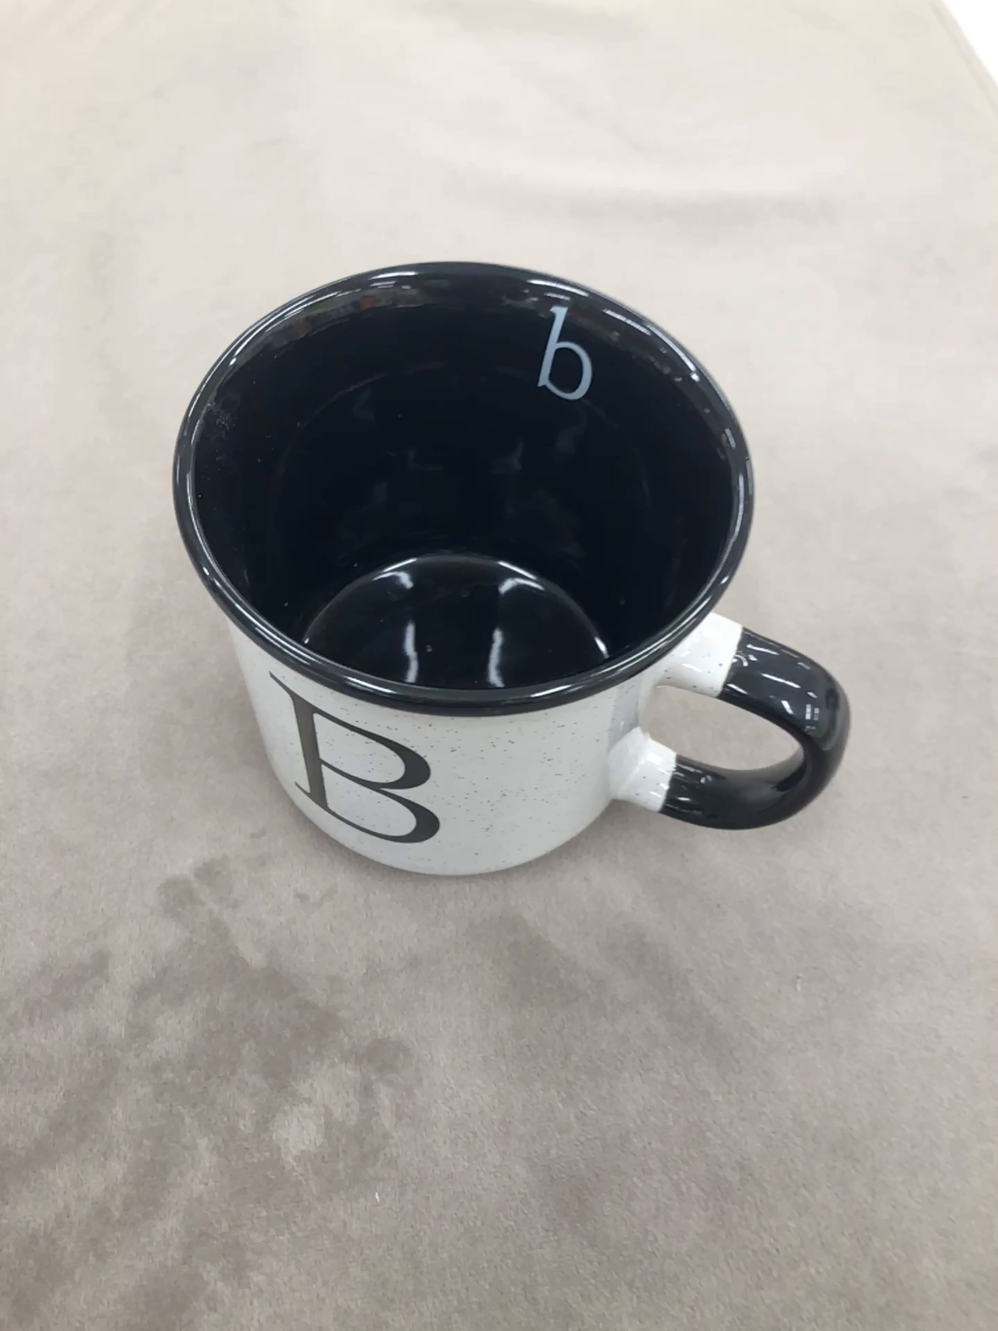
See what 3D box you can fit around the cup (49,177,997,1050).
[{"bbox_3d":[0.014,-0.010,0.230,0.150,0.090,0.100,23,60,10],"label":"cup"}]
